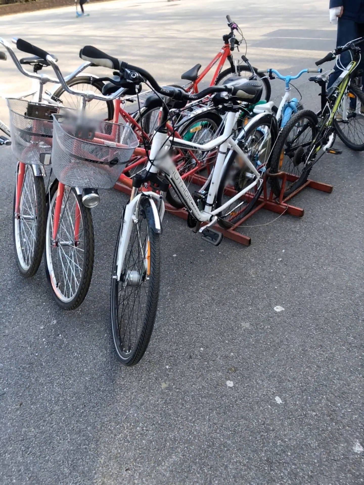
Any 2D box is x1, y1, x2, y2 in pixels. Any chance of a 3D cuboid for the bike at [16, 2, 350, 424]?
[{"bbox_3d":[0.234,-0.332,1.798,0.619,1.163,1.607,12,37,24],"label":"bike"}]
